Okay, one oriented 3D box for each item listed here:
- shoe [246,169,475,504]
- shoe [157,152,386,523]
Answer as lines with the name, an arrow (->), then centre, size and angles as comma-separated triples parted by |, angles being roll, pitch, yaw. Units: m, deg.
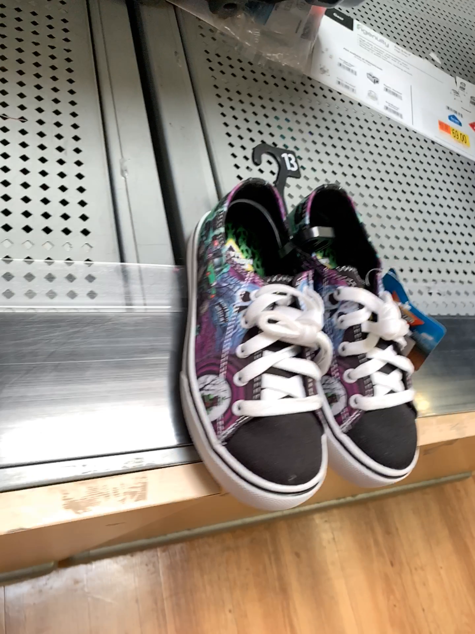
shoe -> 0.084, 0.008, 0.349 | 0.089, 0.073, 0.213 | -2, 65, -27
shoe -> 0.008, 0.010, 0.308 | 0.092, 0.073, 0.208 | 5, 62, -24
